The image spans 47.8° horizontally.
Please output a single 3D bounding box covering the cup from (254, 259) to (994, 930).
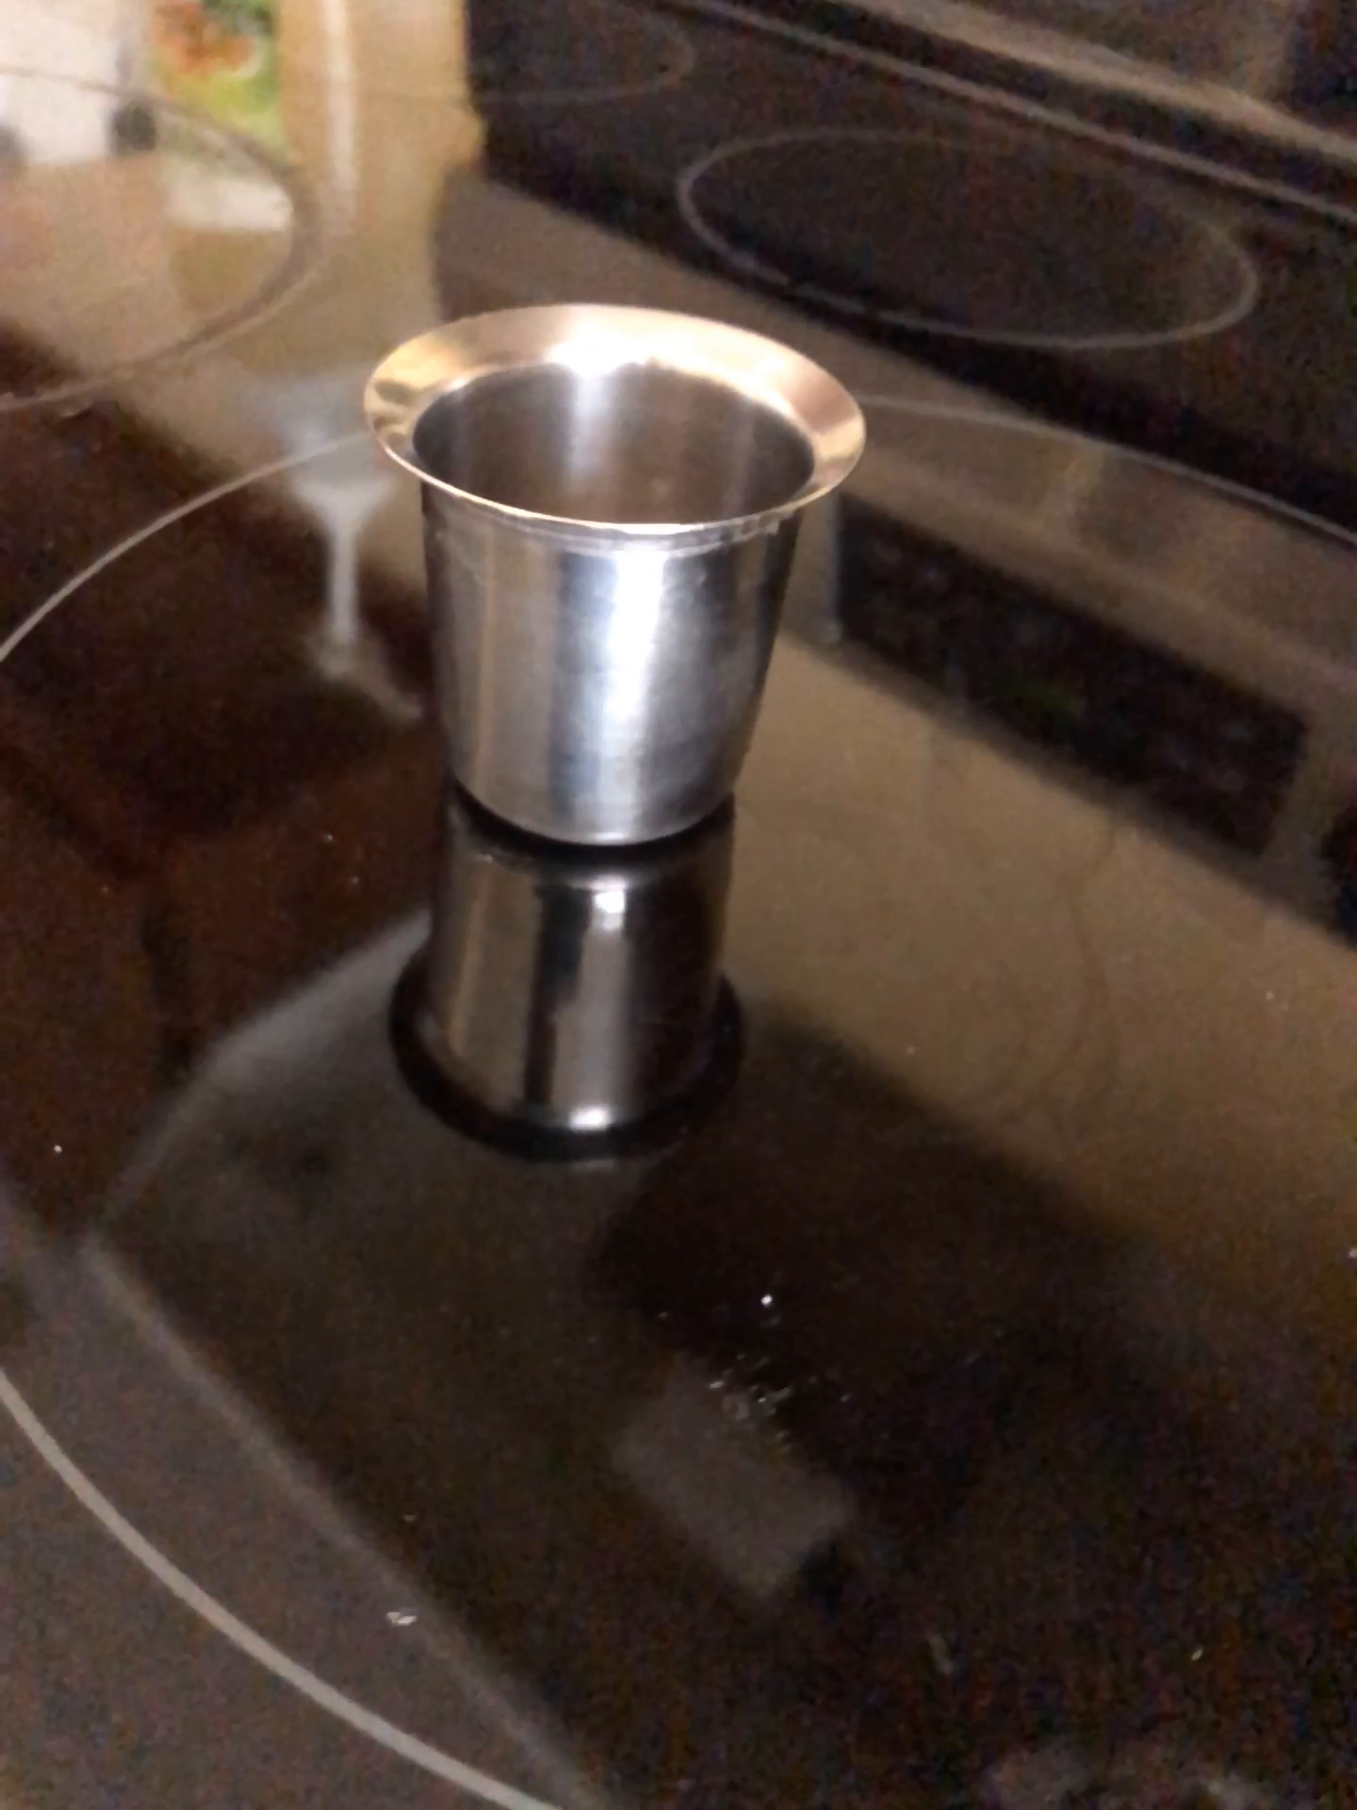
[{"bbox_3d":[-0.011,-0.047,0.215,0.073,0.056,0.067,4,41,-4],"label":"cup"}]
